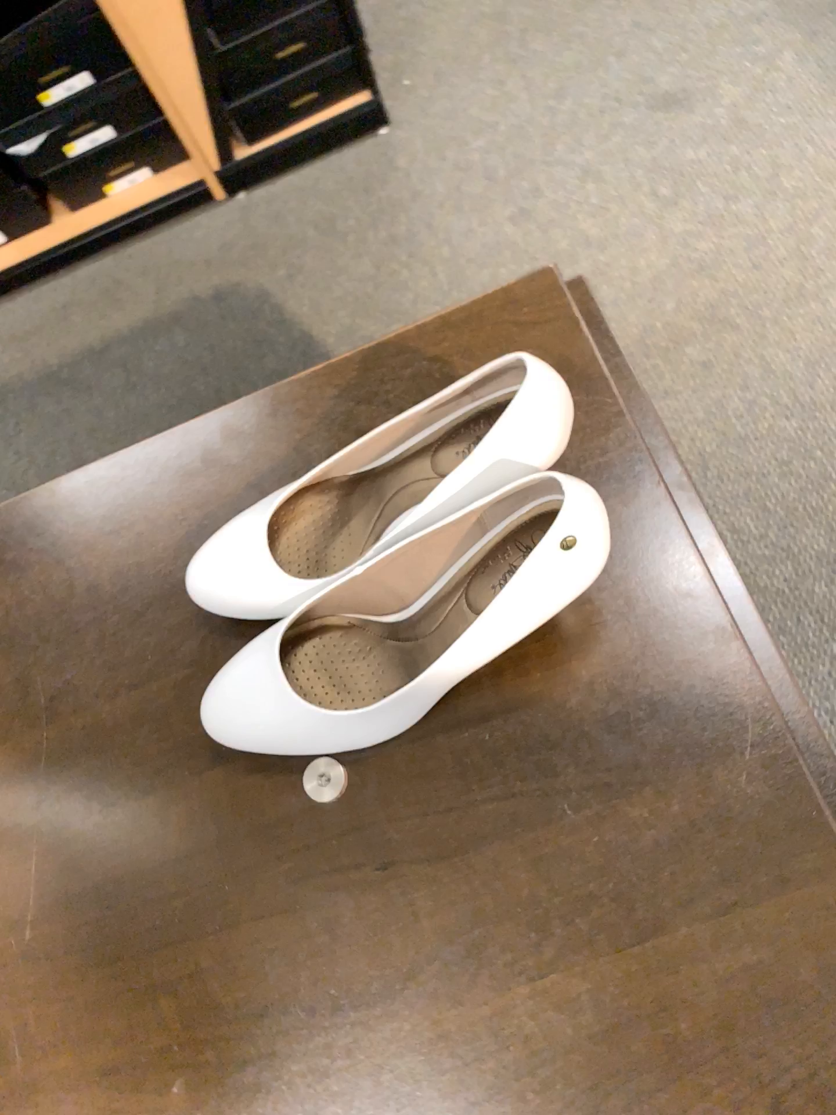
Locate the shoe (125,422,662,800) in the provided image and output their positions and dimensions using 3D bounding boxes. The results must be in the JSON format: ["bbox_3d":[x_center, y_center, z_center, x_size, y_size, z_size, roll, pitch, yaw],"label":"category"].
[{"bbox_3d":[-0.009,0.039,0.478,0.260,0.110,0.090,-23,67,5],"label":"shoe"}]

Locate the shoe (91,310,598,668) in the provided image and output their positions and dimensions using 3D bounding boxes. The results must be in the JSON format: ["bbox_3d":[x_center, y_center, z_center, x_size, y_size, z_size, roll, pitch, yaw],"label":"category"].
[{"bbox_3d":[-0.037,-0.030,0.502,0.260,0.110,0.090,-19,67,7],"label":"shoe"}]
